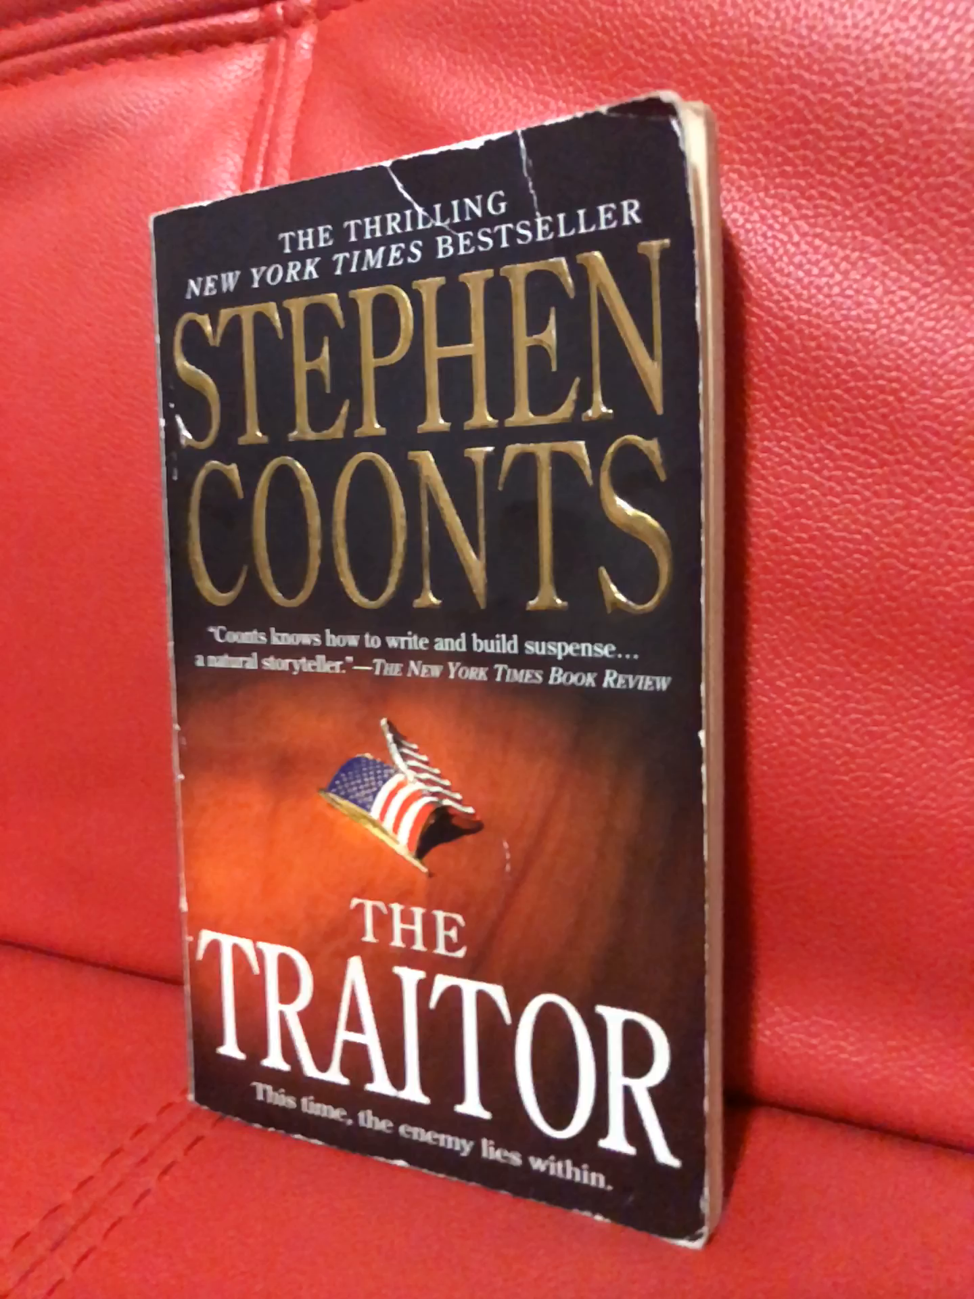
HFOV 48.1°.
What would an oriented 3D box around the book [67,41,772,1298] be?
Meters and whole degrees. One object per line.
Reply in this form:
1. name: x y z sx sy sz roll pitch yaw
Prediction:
1. book: -0.015 0.003 0.199 0.120 0.180 0.040 2 4 25
